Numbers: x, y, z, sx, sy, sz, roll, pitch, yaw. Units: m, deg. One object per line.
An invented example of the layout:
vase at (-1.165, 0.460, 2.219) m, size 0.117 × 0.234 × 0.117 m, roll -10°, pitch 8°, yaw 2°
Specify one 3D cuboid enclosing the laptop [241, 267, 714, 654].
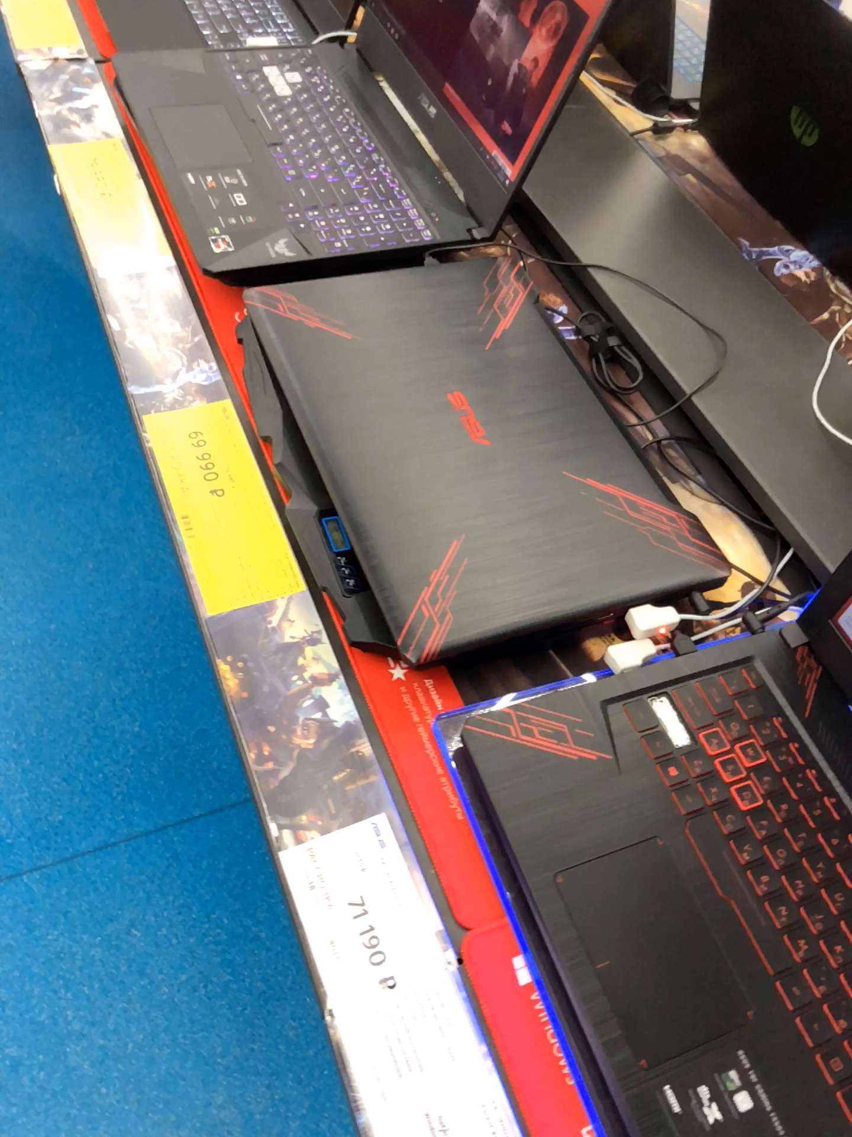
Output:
laptop at (0.028, -0.111, 0.721) m, size 0.239 × 0.003 × 0.359 m, roll -14°, pitch 56°, yaw -22°
